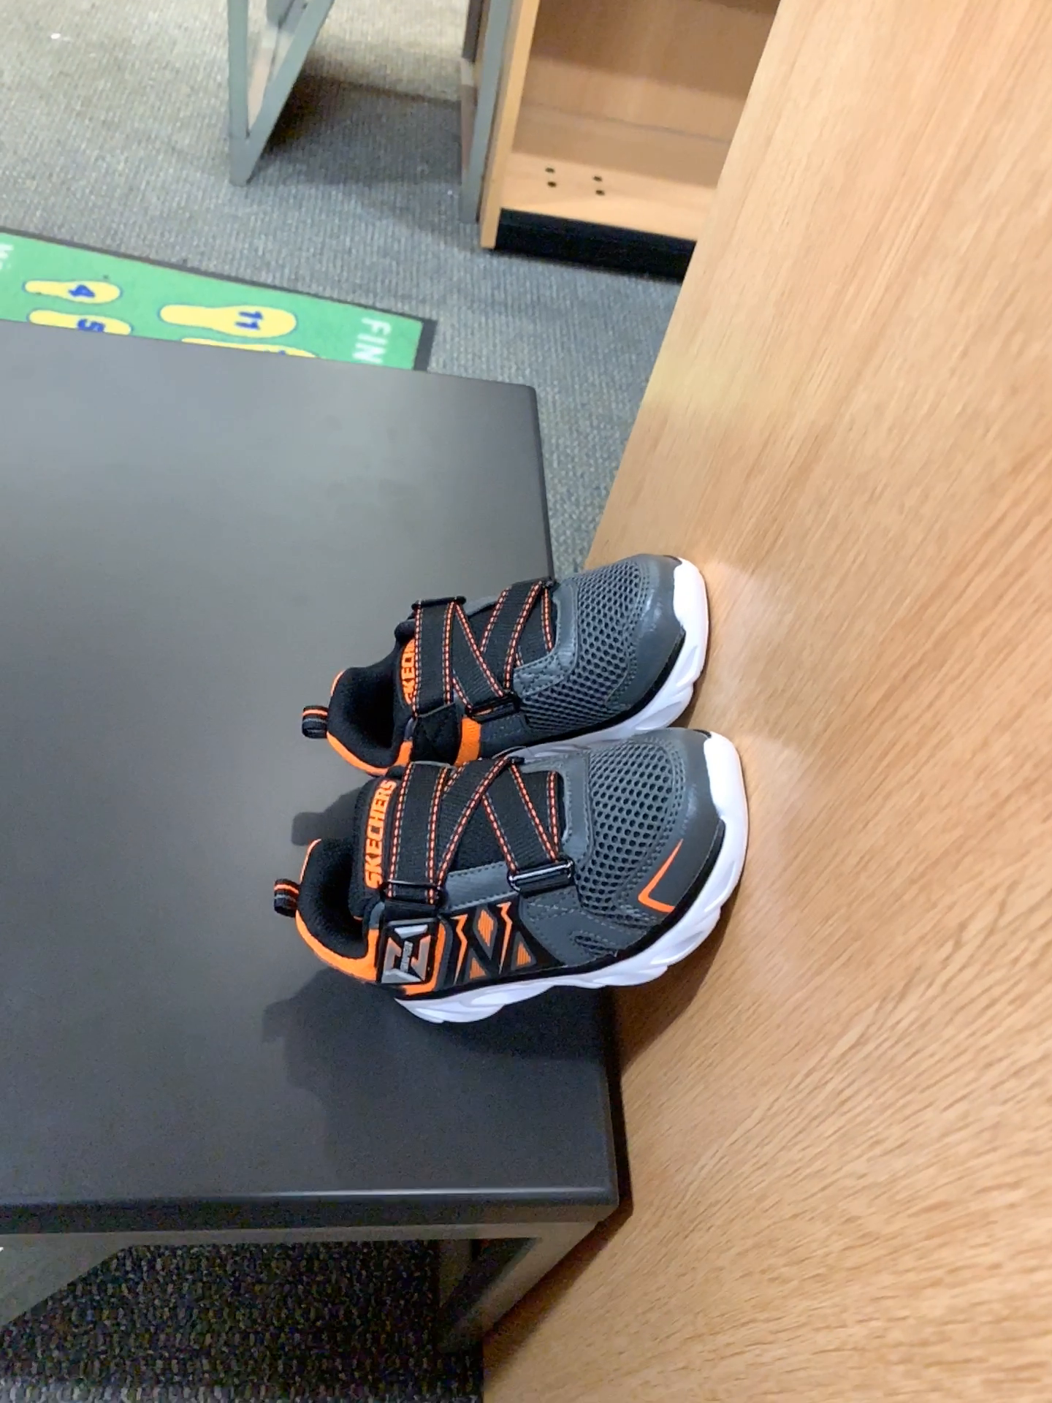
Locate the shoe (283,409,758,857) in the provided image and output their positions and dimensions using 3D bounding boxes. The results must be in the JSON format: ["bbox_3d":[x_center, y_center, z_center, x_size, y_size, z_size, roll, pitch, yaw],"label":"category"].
[{"bbox_3d":[-0.007,-0.020,0.477,0.100,0.179,0.090,32,42,-34],"label":"shoe"}]

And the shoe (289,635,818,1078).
[{"bbox_3d":[0.005,0.073,0.434,0.100,0.179,0.090,32,42,-34],"label":"shoe"}]
